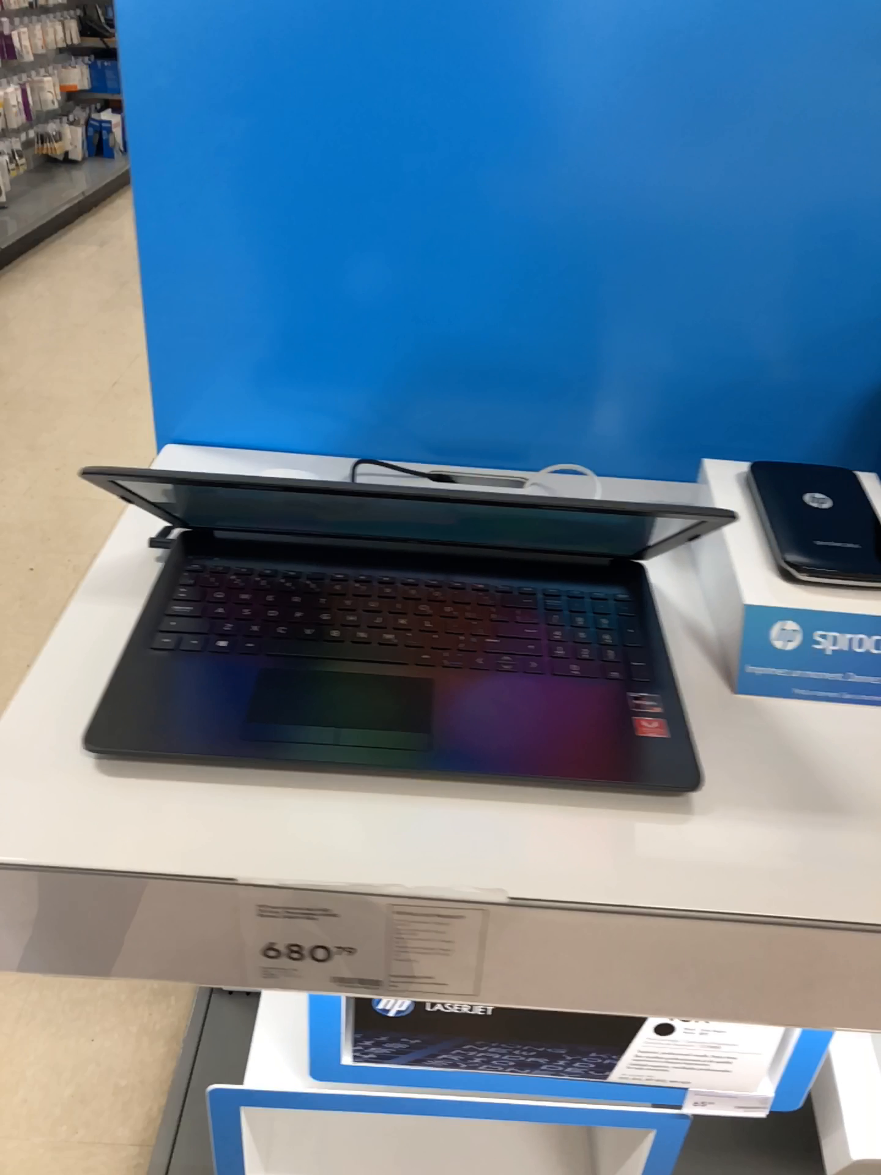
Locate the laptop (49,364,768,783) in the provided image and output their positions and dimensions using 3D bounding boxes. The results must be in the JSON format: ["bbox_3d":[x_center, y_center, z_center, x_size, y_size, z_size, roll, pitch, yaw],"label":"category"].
[{"bbox_3d":[-0.017,-0.021,0.612,0.355,0.130,0.243,4,33,-4],"label":"laptop"}]
